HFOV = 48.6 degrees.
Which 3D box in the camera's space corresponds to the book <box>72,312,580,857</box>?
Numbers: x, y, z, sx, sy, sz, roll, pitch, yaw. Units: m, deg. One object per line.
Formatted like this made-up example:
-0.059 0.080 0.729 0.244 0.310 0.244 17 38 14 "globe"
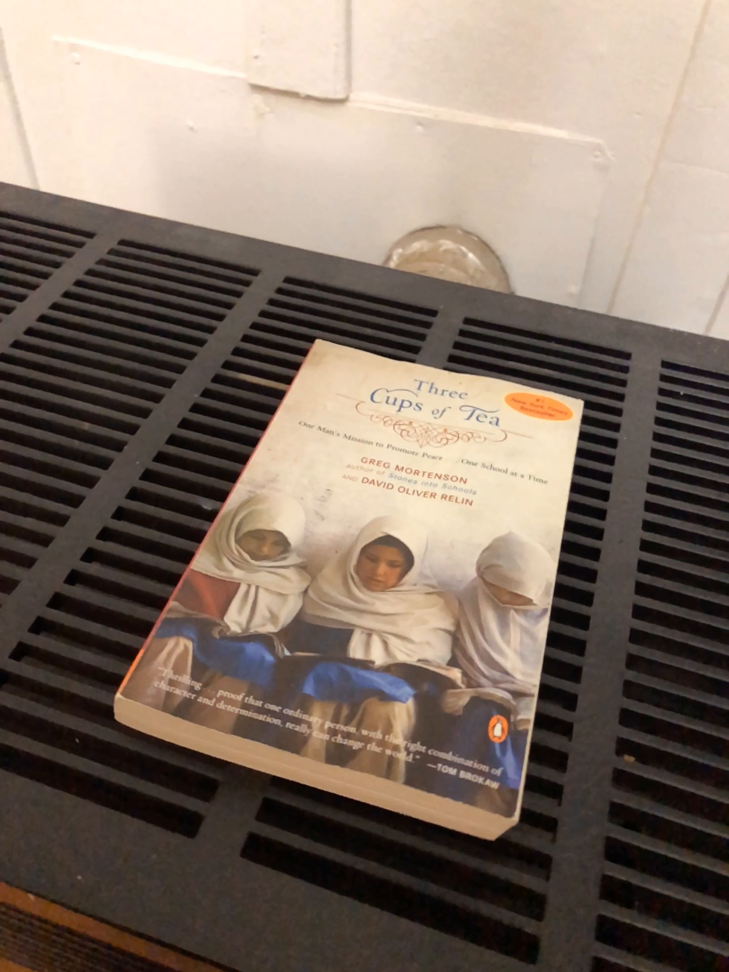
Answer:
0.005 0.014 0.326 0.140 0.030 0.221 13 46 8 "book"
